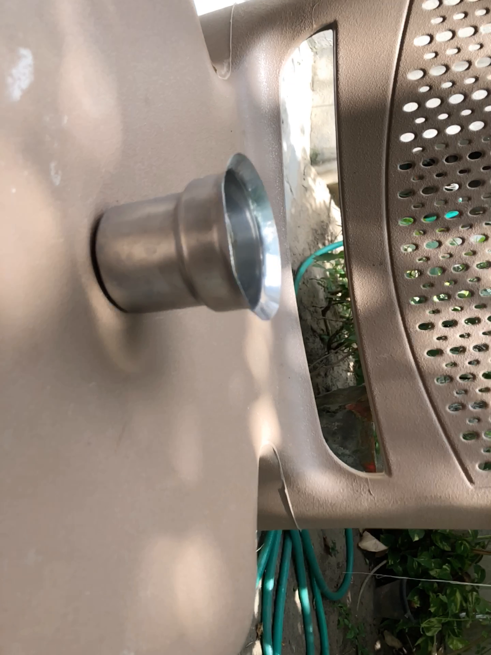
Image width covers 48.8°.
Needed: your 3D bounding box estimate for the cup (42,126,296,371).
[{"bbox_3d":[-0.026,-0.031,0.228,0.060,0.070,0.070,59,33,-42],"label":"cup"}]
